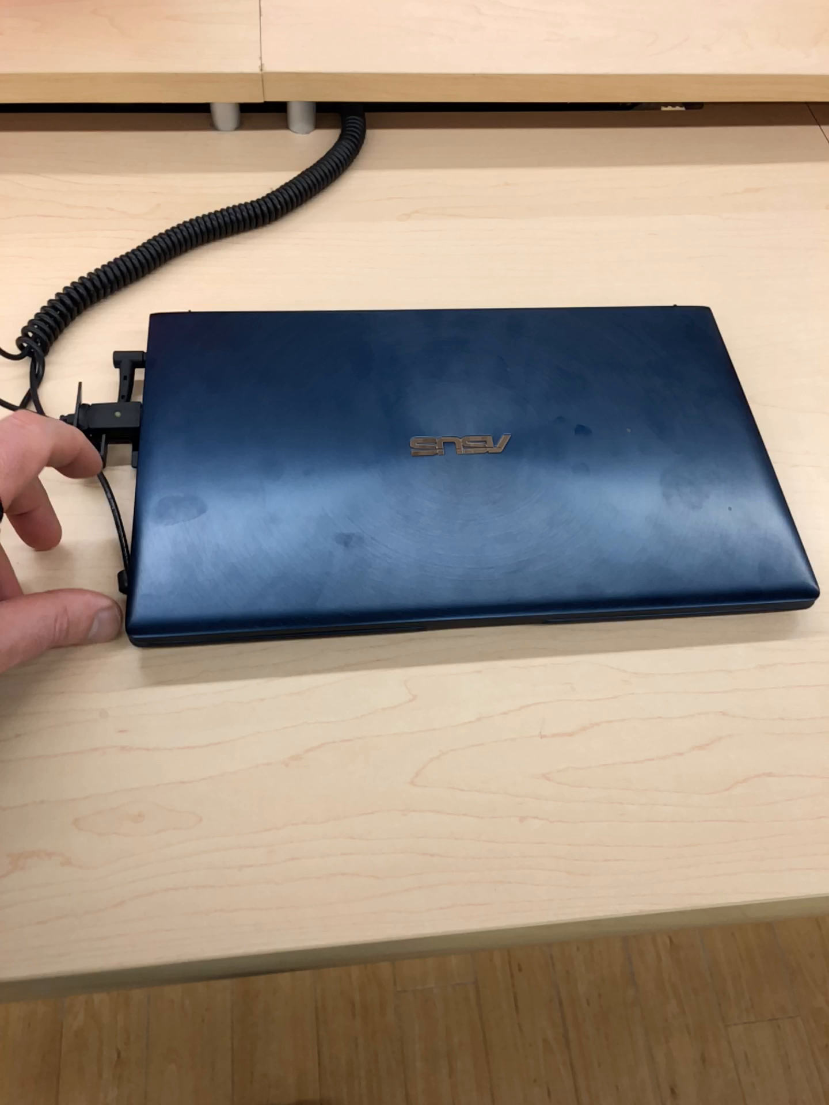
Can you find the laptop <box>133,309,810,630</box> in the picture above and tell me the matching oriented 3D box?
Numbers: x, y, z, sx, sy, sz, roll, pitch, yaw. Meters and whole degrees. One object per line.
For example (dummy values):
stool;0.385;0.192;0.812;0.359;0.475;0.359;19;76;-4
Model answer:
laptop;0.023;-0.051;0.441;0.295;0.001;0.178;-3;58;-6
